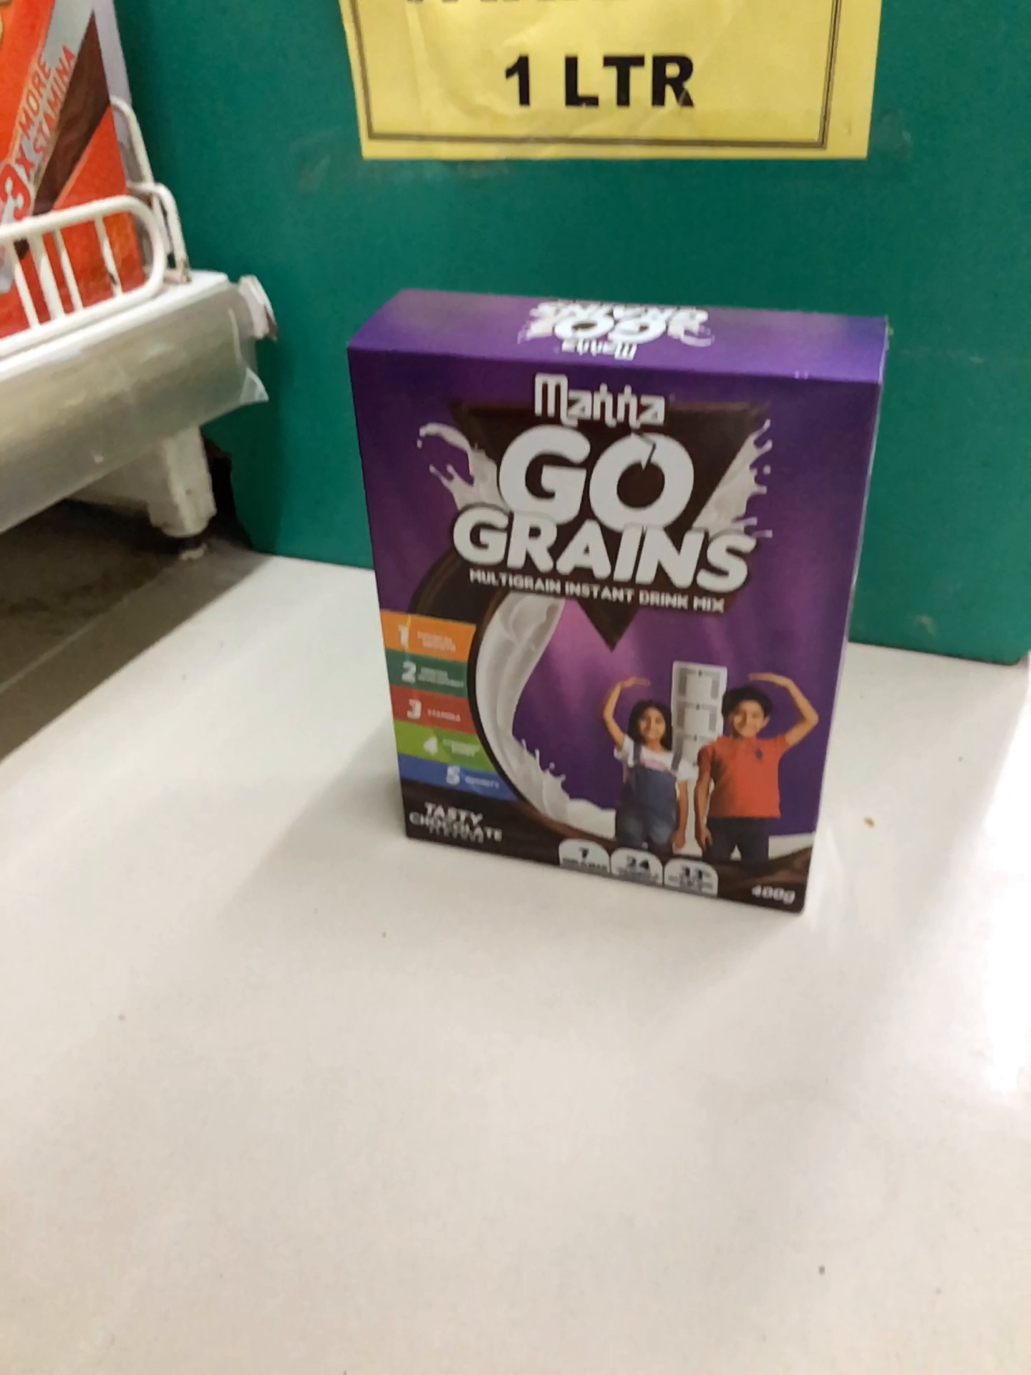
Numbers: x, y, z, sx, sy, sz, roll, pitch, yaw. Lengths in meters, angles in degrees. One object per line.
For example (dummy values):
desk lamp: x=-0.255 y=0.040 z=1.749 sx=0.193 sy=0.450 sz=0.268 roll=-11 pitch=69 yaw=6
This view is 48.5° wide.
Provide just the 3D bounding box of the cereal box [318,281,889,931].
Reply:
cereal box: x=0.026 y=-0.022 z=0.368 sx=0.150 sy=0.189 sz=0.050 roll=8 pitch=34 yaw=14
